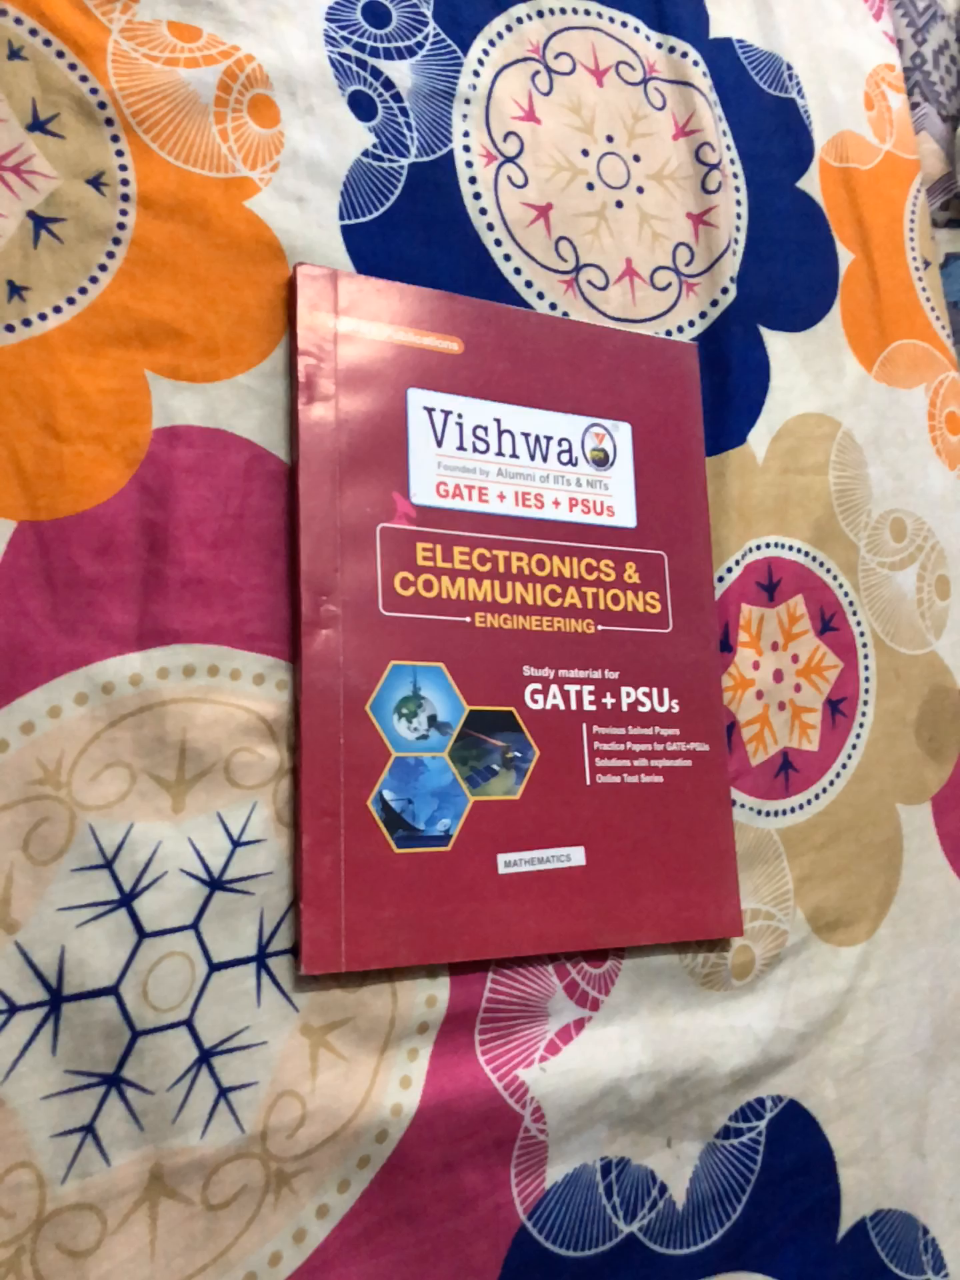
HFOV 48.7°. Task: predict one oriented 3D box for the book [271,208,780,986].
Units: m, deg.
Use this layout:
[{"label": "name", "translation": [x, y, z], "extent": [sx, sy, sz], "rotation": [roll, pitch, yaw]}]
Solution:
[{"label": "book", "translation": [0.021, -0.018, 0.457], "extent": [0.217, 0.030, 0.300], "rotation": [4, 77, -26]}]
